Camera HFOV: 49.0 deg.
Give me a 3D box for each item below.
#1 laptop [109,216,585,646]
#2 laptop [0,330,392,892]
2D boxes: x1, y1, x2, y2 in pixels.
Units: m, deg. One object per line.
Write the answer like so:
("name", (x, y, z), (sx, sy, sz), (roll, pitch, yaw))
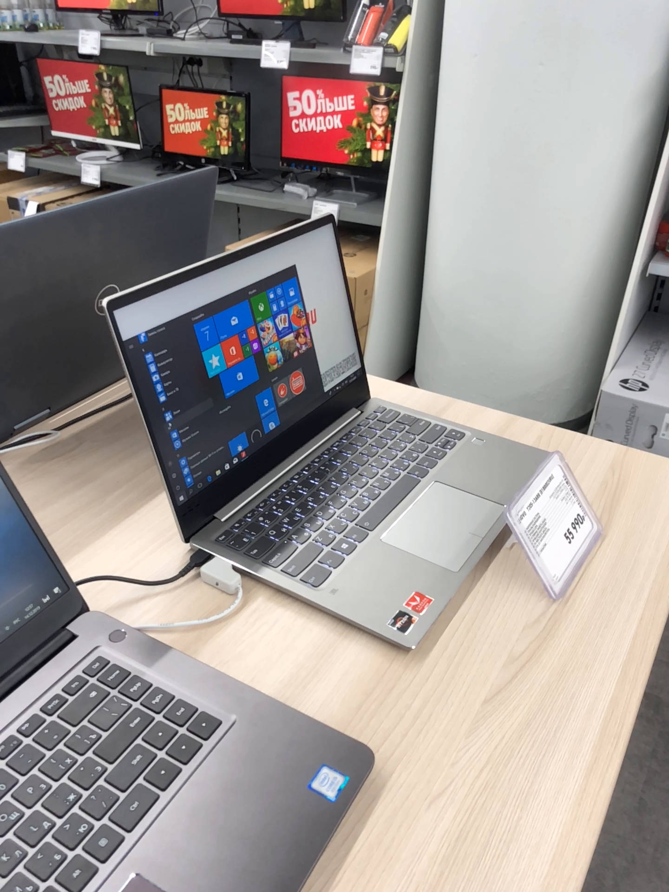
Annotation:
("laptop", (0.024, -0.046, 0.617), (0.262, 0.187, 0.286), (19, 36, 26))
("laptop", (-0.208, 0.133, 0.315), (0.340, 0.188, 0.346), (18, 35, 24))
